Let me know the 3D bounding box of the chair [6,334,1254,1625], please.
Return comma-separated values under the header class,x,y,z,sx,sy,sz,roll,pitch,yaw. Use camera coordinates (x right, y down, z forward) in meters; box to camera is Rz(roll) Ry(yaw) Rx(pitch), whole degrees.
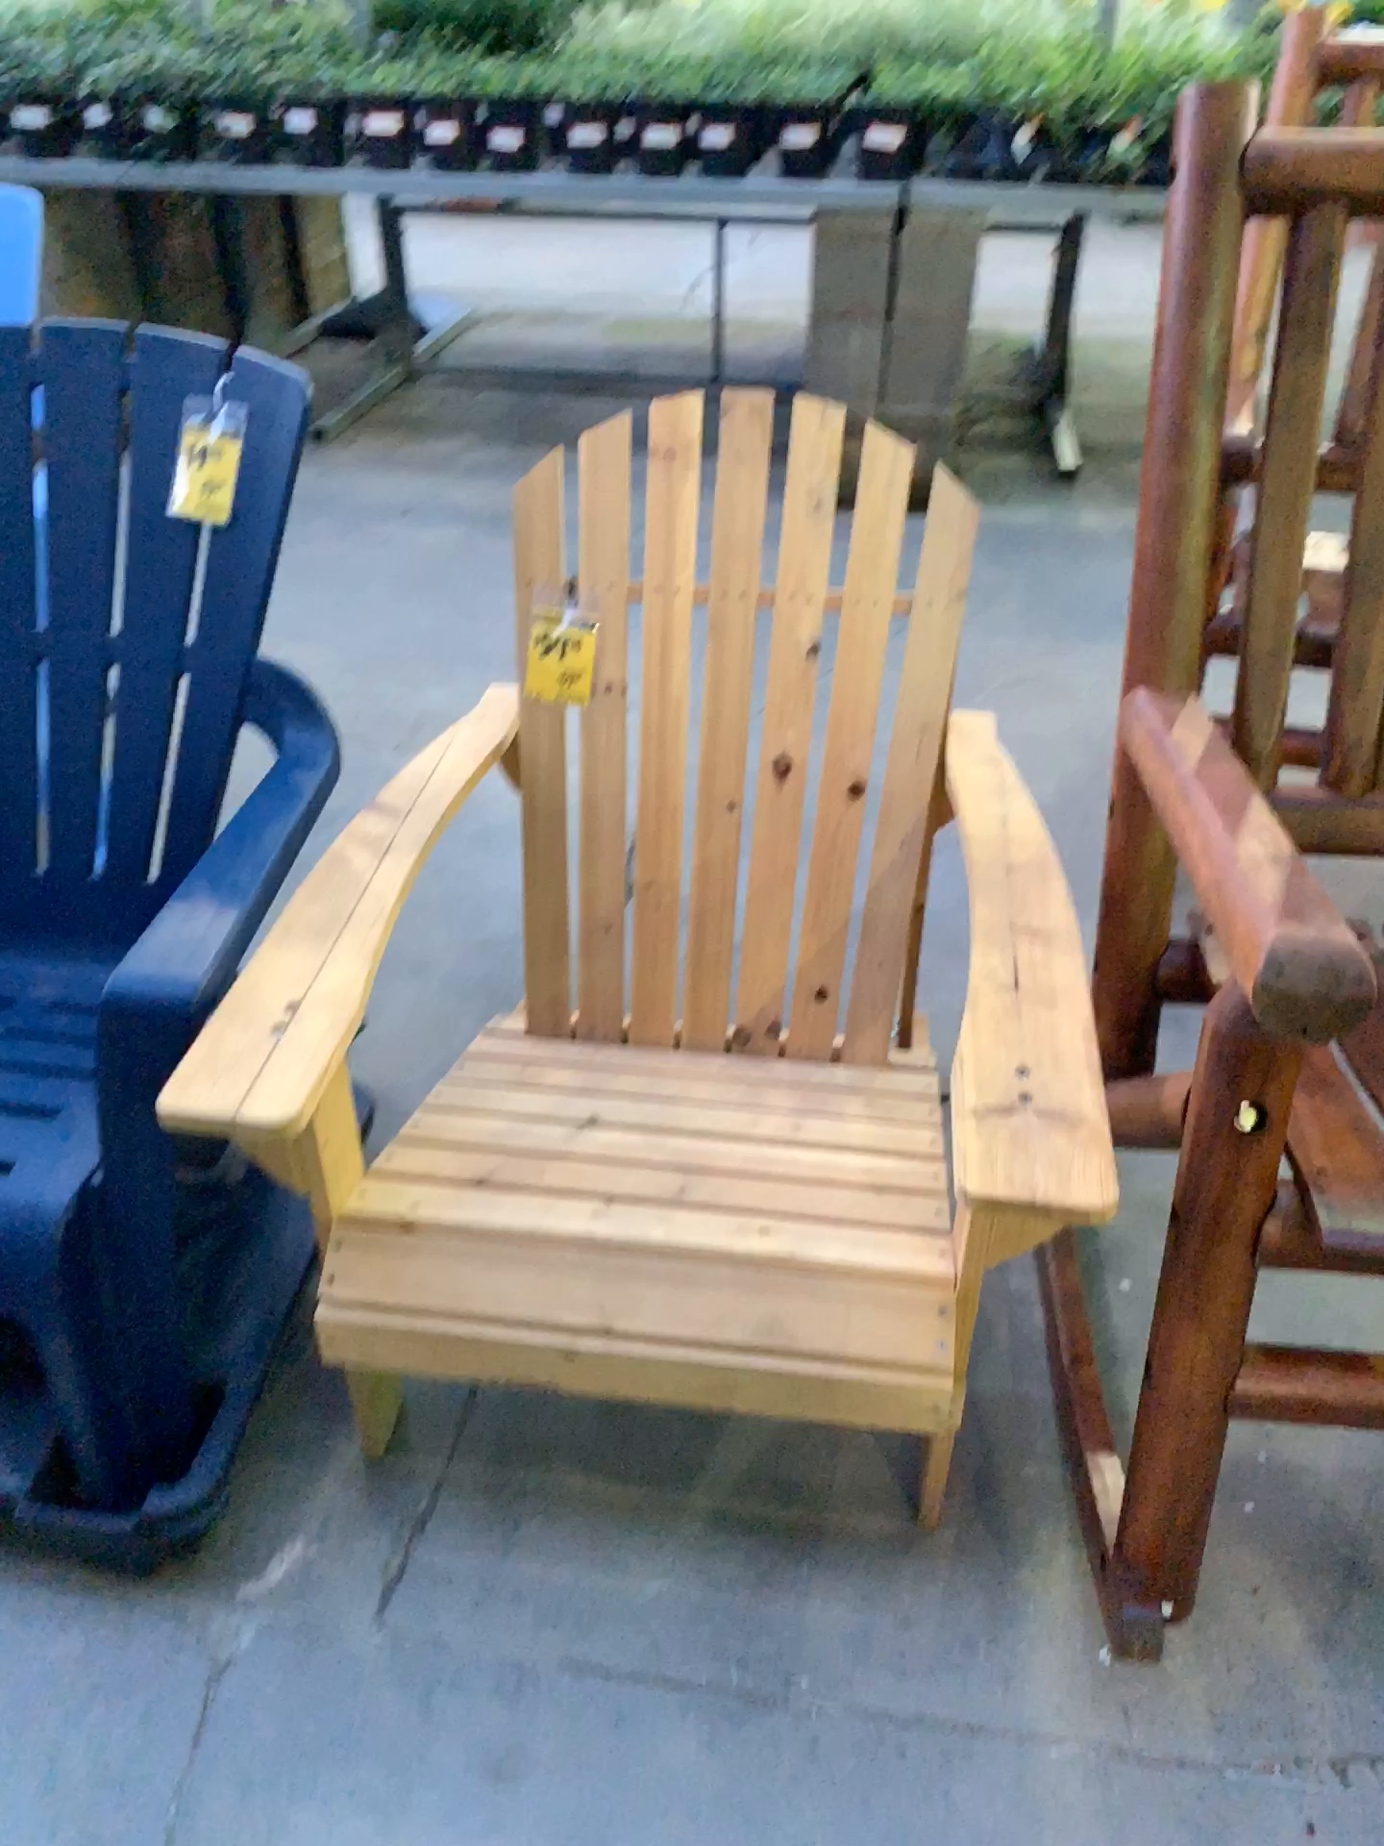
class,x,y,z,sx,sy,sz,roll,pitch,yaw
chair,0.008,-0.006,1.428,0.727,0.887,0.895,4,36,6
